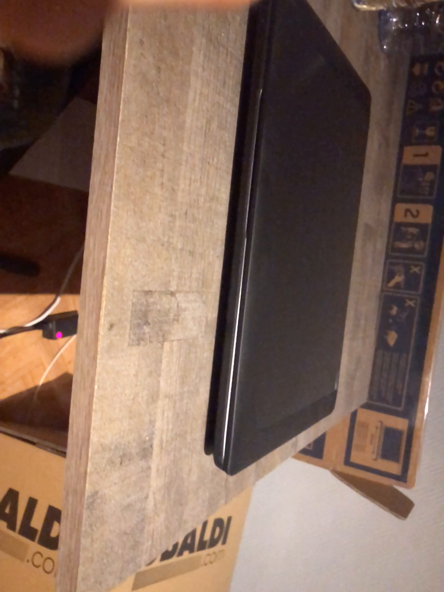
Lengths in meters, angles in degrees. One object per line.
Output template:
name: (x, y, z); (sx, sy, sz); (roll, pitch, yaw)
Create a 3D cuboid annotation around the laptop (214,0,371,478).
laptop: (0.081, -0.043, 0.472); (0.242, 0.017, 0.365); (-1, 98, -59)
